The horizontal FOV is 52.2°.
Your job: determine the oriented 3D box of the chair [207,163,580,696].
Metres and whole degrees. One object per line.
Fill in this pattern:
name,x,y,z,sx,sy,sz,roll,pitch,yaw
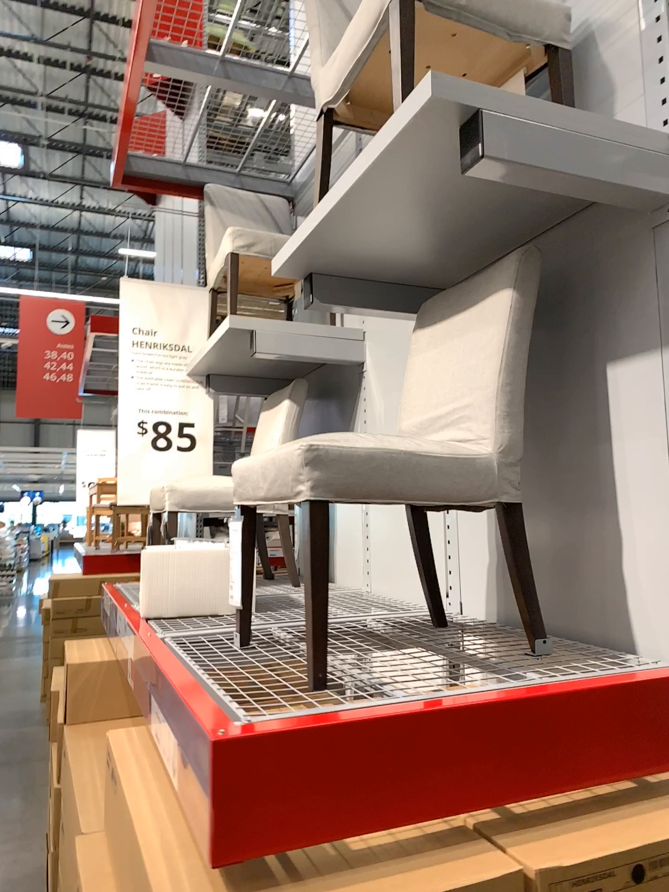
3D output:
chair,0.097,-0.014,1.634,0.669,0.982,0.560,2,-7,-24
